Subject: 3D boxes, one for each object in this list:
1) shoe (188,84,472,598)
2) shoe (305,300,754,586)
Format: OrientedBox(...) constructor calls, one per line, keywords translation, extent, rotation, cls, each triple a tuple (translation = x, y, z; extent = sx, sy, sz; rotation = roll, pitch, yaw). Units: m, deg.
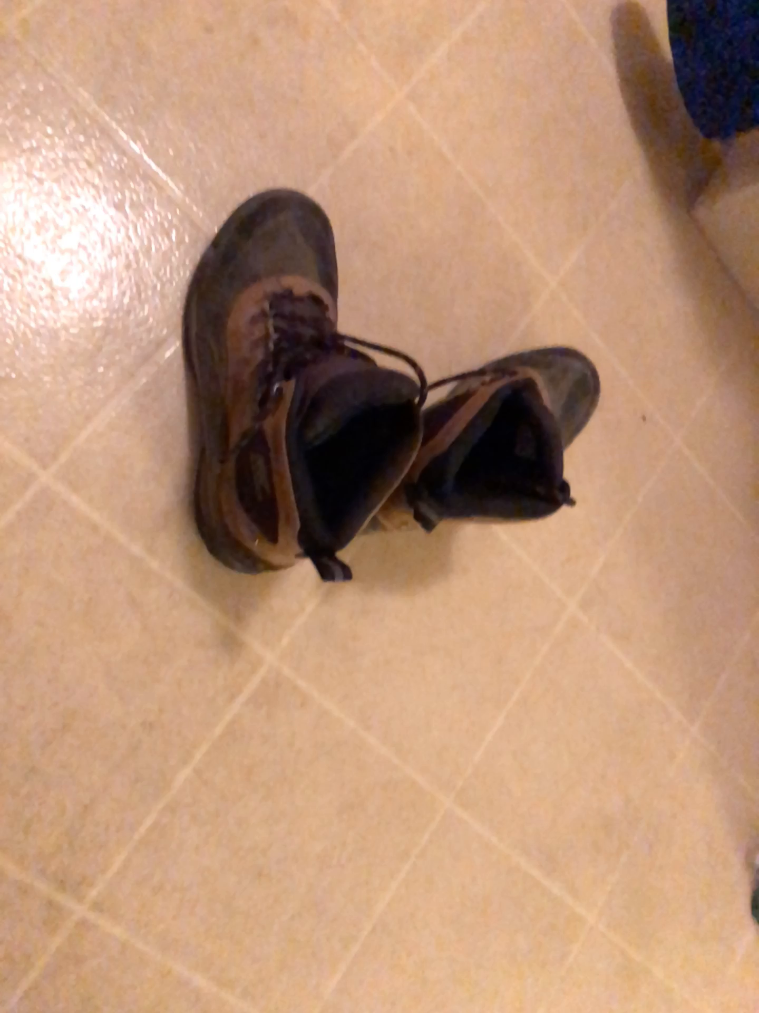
OrientedBox(translation=(-0.044, -0.094, 0.594), extent=(0.122, 0.185, 0.299), rotation=(3, 88, -28), cls="shoe")
OrientedBox(translation=(0.120, -0.055, 0.681), extent=(0.293, 0.185, 0.113), rotation=(-24, 101, -26), cls="shoe")
